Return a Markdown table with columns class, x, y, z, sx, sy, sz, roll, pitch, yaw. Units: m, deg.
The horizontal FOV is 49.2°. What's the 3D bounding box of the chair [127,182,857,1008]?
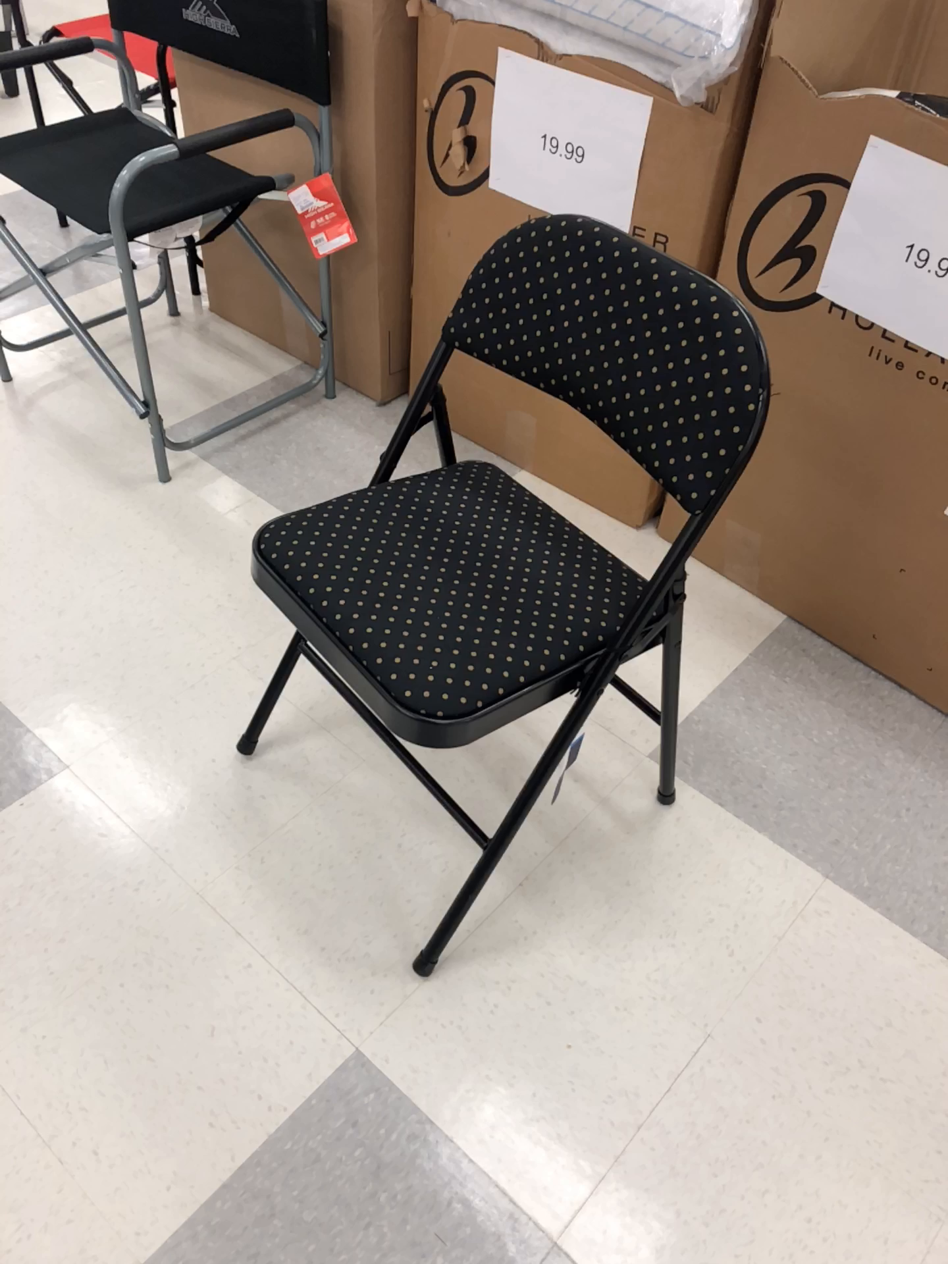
| class | x | y | z | sx | sy | sz | roll | pitch | yaw |
| --- | --- | --- | --- | --- | --- | --- | --- | --- | --- |
| chair | 0.001 | -0.047 | 1.279 | 0.540 | 0.729 | 0.486 | -28 | 52 | -28 |
